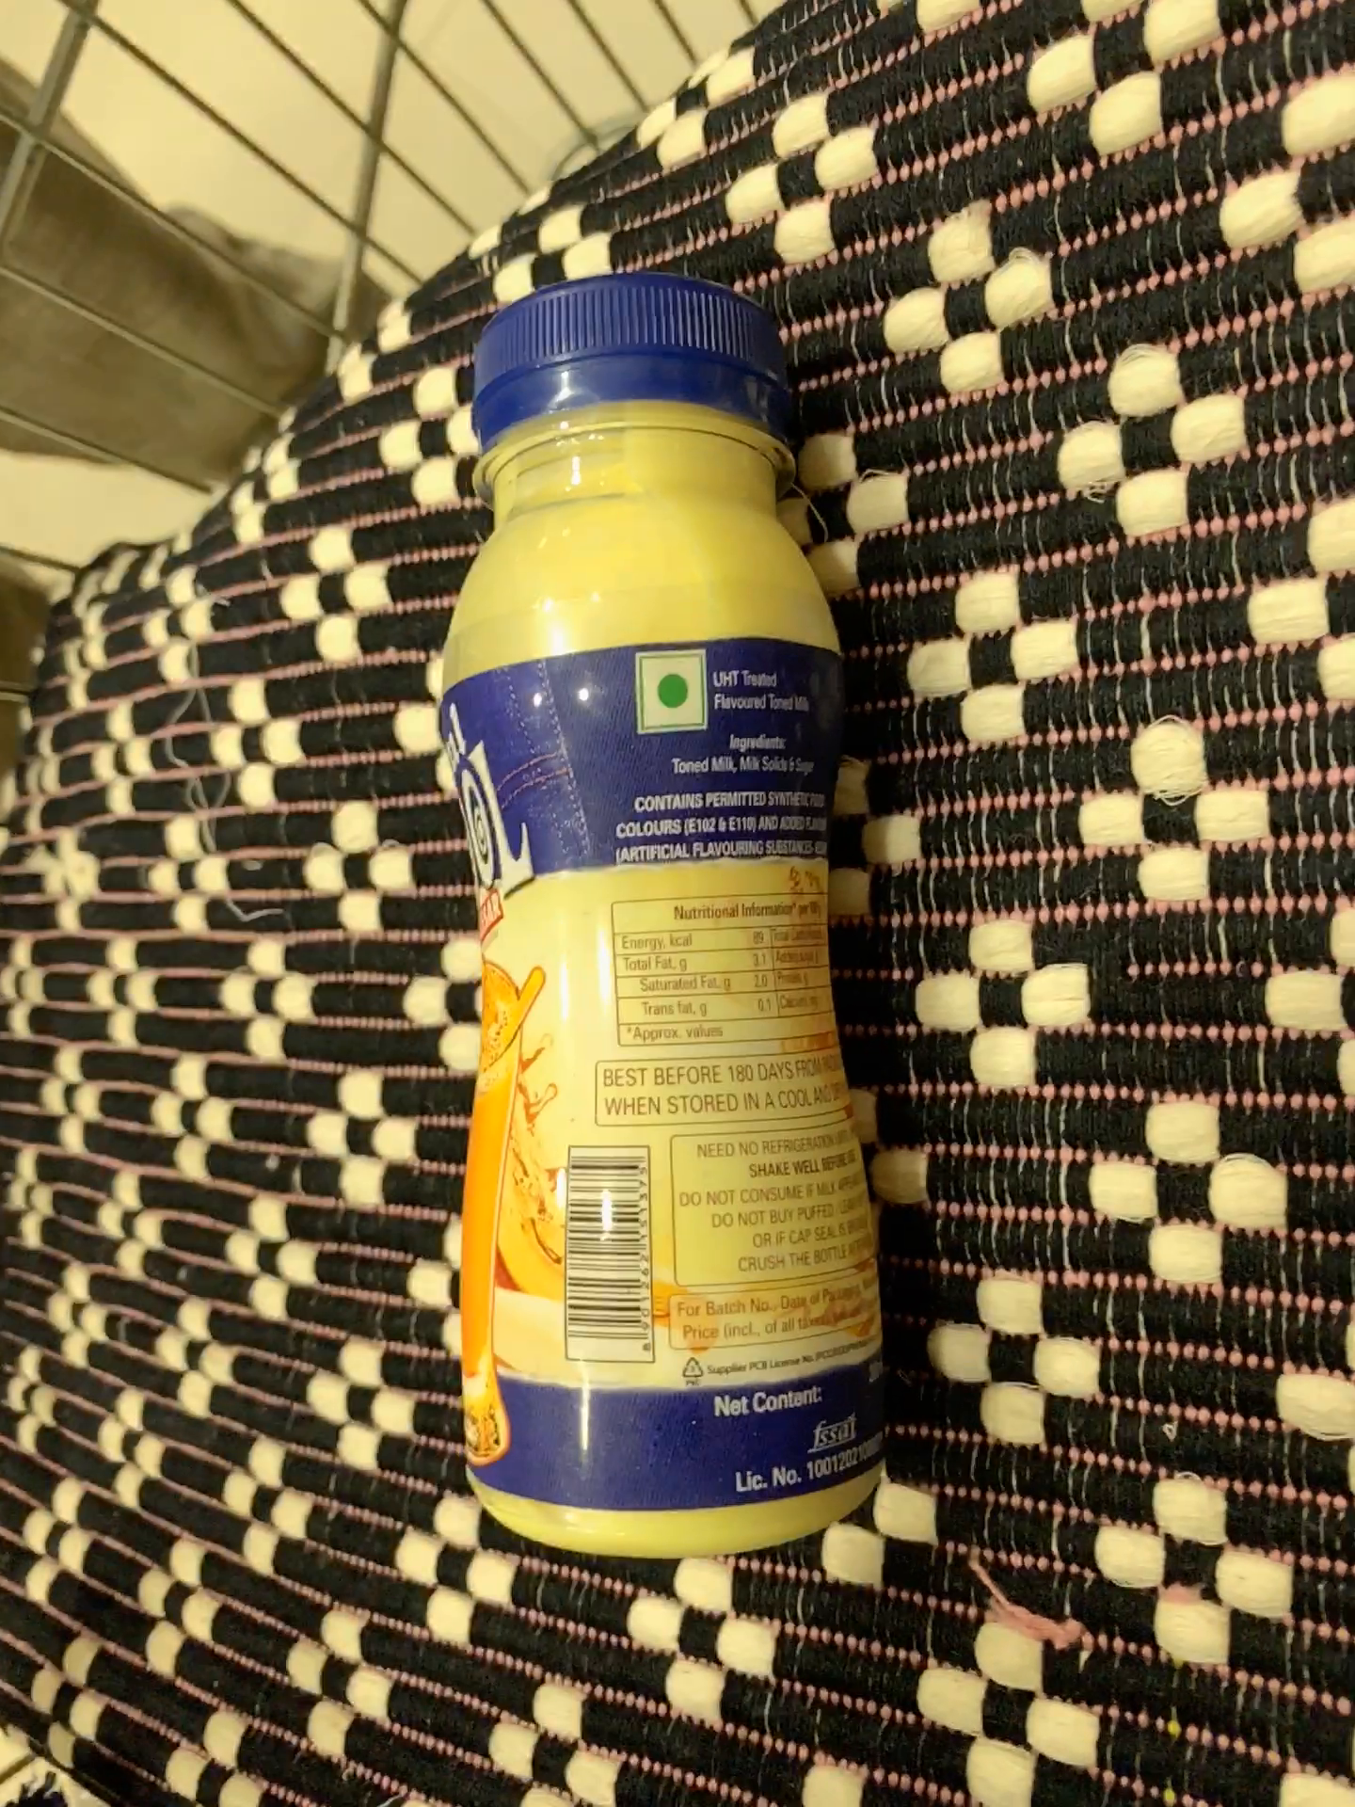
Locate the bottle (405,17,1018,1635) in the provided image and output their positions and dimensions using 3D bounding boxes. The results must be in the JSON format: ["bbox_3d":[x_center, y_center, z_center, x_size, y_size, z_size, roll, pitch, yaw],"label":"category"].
[{"bbox_3d":[0.000,-0.008,0.173,0.060,0.060,0.160,1,85,-9],"label":"bottle"}]
